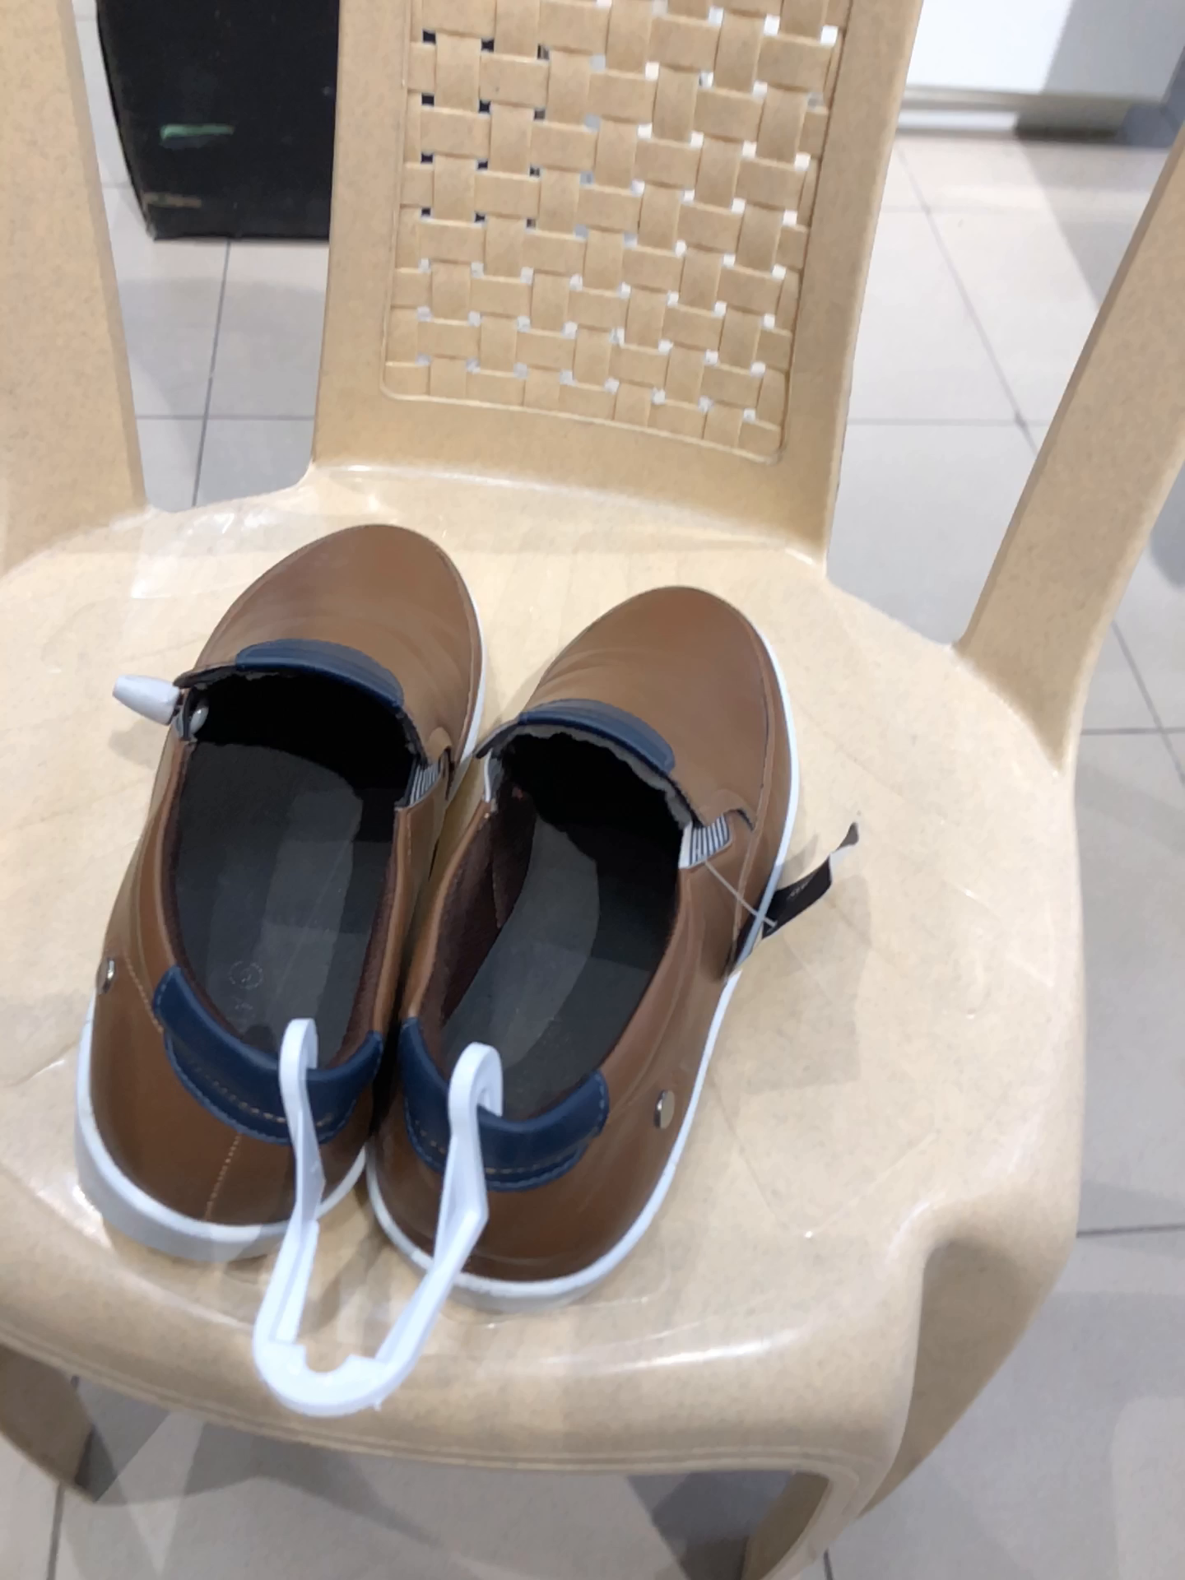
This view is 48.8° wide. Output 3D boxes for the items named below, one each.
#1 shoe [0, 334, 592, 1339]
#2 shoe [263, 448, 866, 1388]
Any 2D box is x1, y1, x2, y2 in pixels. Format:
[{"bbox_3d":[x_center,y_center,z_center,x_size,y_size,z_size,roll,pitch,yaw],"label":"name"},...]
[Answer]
[{"bbox_3d":[-0.077,-0.001,0.388,0.104,0.099,0.272,23,46,-20],"label":"shoe"},{"bbox_3d":[0.012,0.018,0.405,0.104,0.099,0.272,9,49,10],"label":"shoe"}]
